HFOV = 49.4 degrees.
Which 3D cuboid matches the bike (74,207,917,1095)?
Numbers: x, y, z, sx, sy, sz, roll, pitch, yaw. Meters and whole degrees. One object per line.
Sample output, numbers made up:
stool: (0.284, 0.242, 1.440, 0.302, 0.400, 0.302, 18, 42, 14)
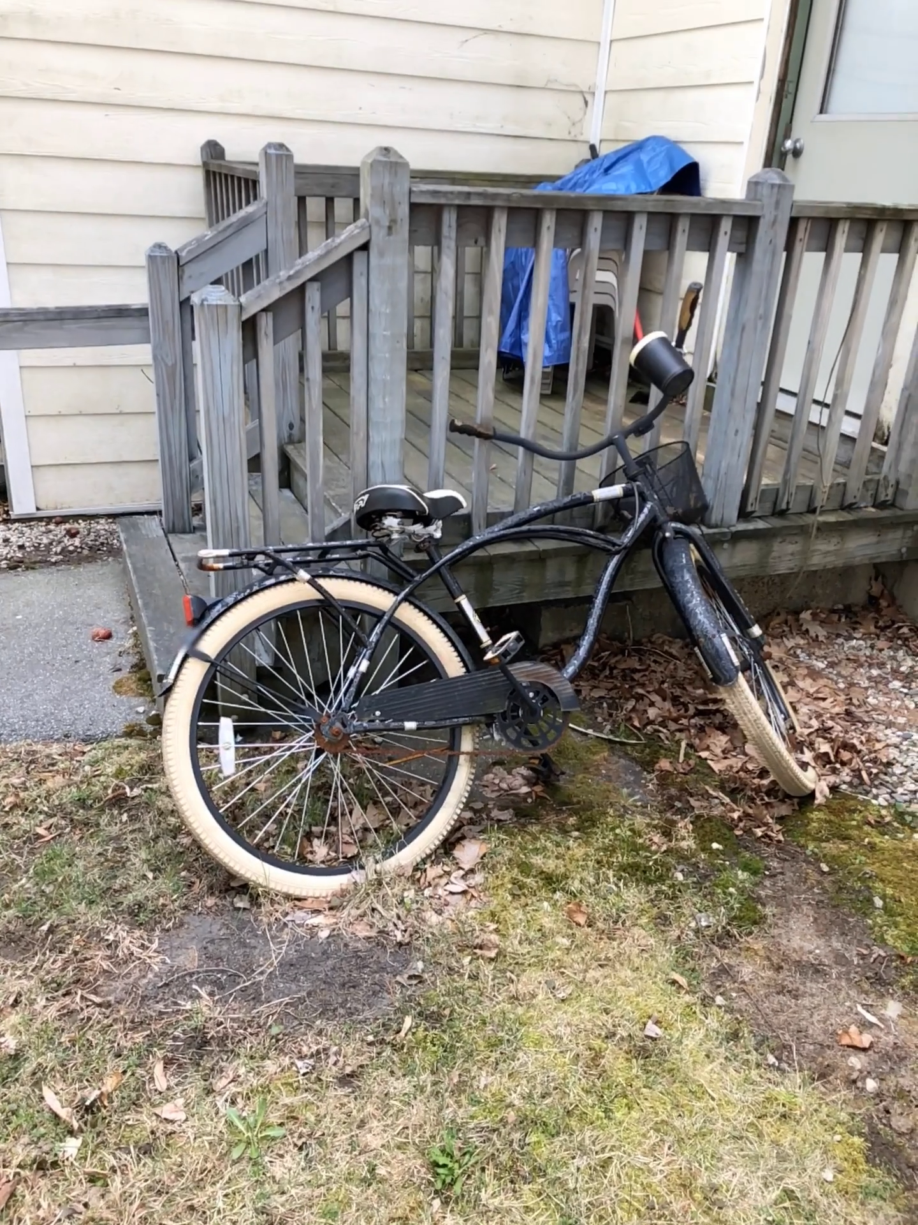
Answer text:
bike: (0.318, -0.083, 2.165, 1.614, 1.313, 0.940, -16, 30, -30)
